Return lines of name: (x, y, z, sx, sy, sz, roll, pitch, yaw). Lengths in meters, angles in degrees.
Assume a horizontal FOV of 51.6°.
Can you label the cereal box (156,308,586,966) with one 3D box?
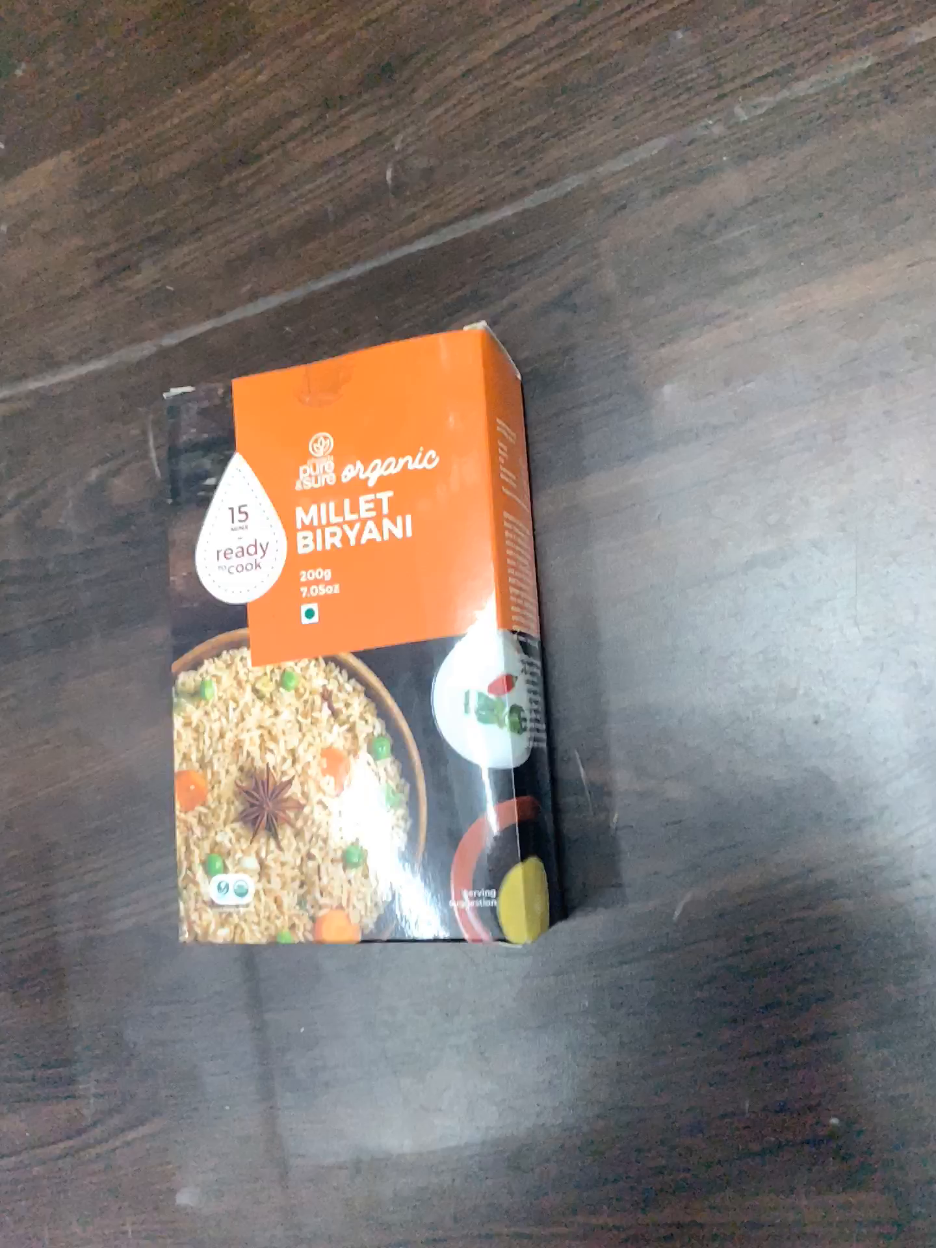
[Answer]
cereal box: (-0.029, 0.007, 0.287, 0.110, 0.050, 0.170, -5, 82, 16)
